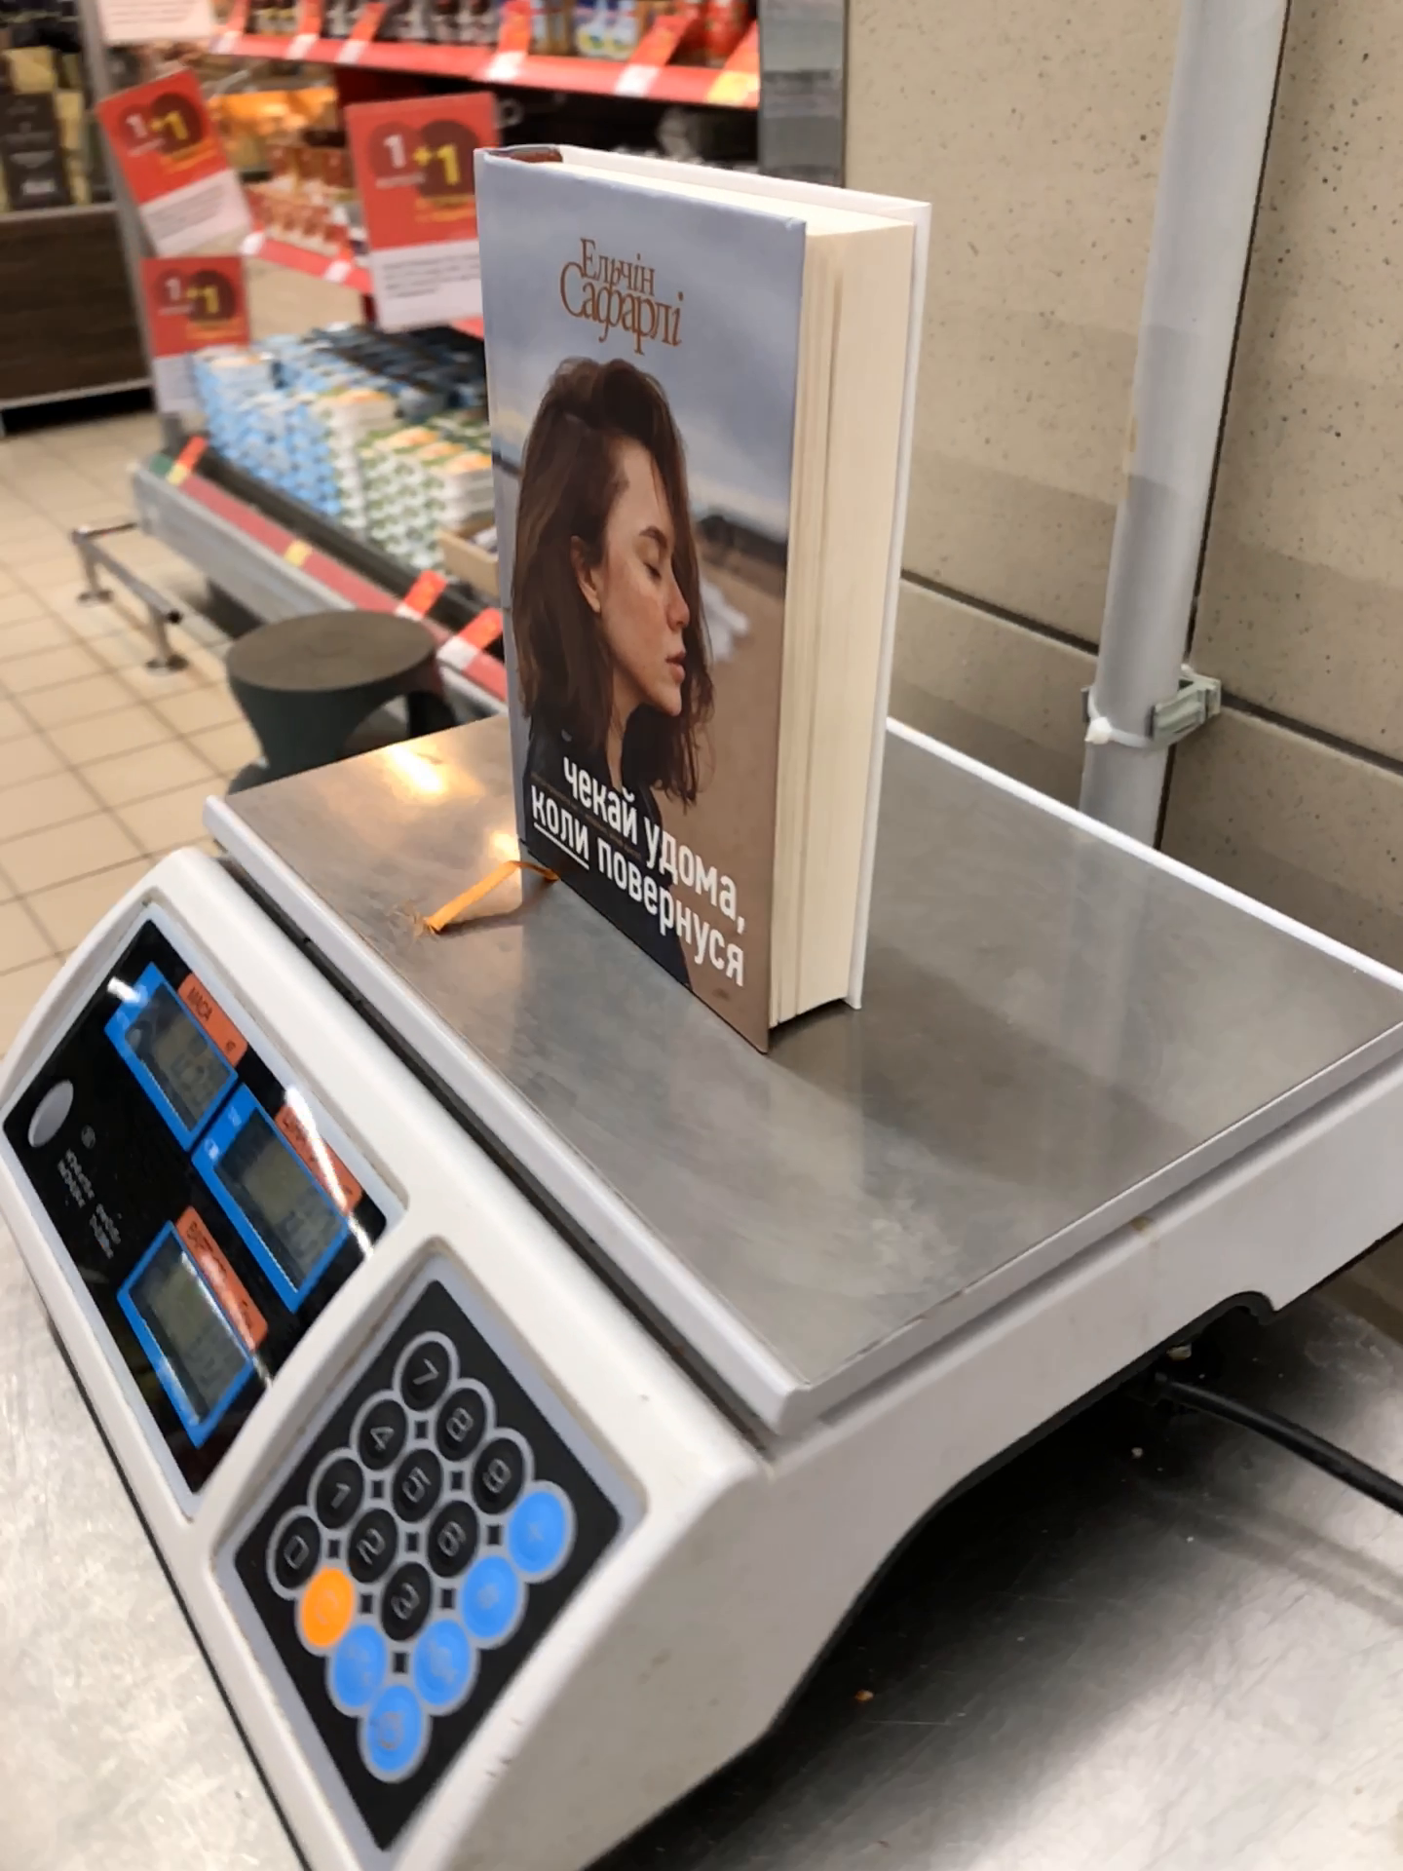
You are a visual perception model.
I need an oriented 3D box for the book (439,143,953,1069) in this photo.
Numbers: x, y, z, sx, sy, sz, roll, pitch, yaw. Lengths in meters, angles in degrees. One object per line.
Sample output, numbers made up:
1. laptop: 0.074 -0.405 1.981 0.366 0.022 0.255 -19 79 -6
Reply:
1. book: -0.008 -0.083 0.376 0.037 0.186 0.137 -20 36 -30
